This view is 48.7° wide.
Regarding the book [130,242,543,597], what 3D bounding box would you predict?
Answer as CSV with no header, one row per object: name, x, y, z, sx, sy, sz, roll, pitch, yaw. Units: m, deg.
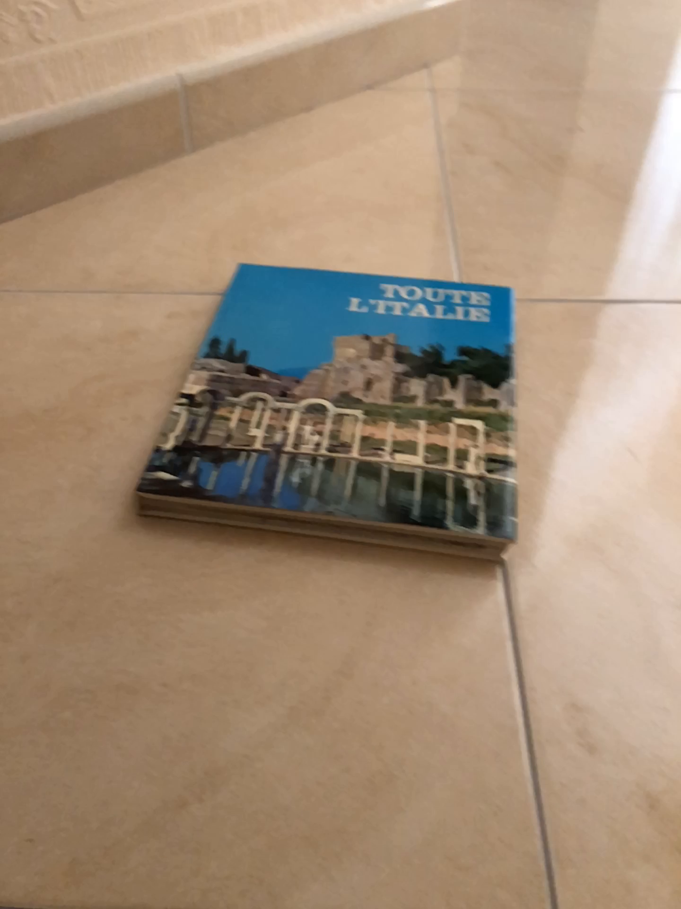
book,0.016,-0.048,0.551,0.240,0.050,0.292,6,46,6
